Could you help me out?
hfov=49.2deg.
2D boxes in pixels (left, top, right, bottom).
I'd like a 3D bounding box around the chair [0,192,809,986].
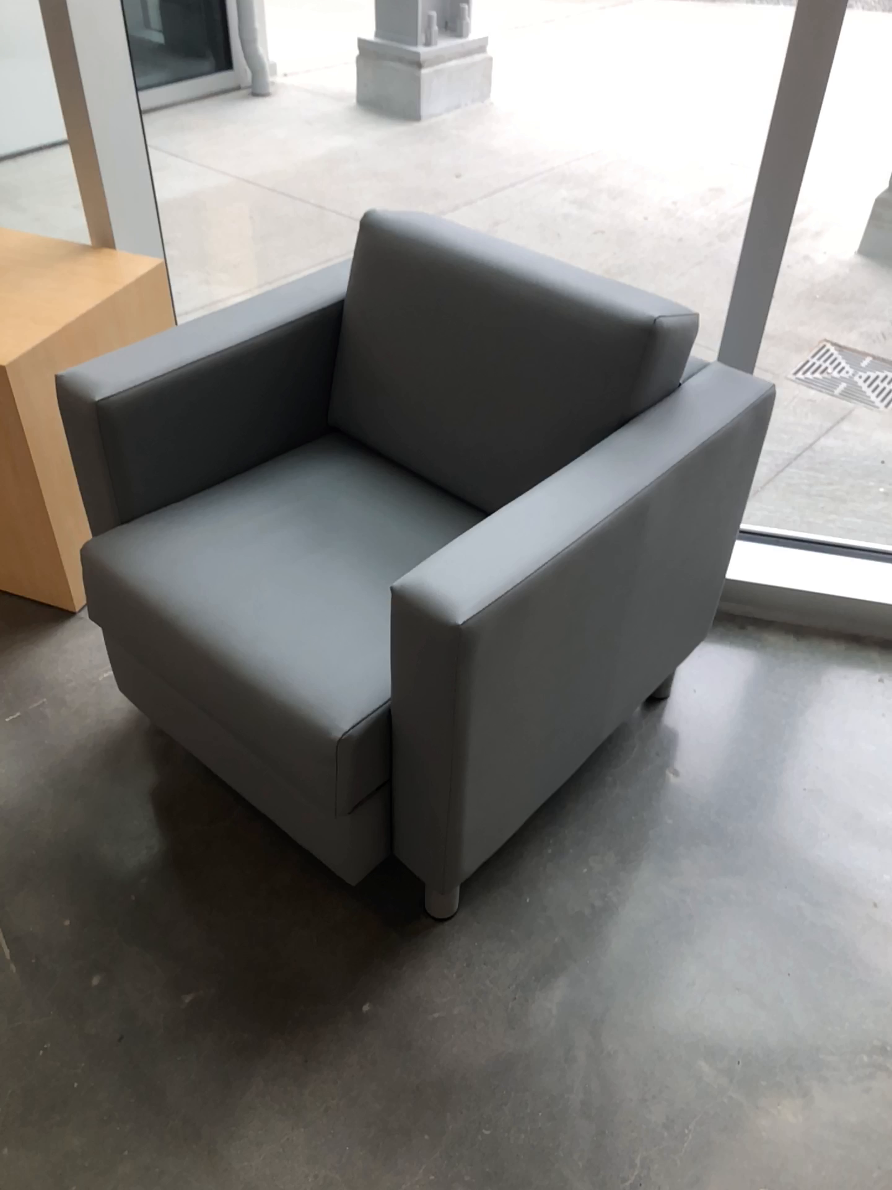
[{"bbox_3d":[-0.055,-0.084,1.534,0.773,0.695,0.783,31,49,29],"label":"chair"}]
